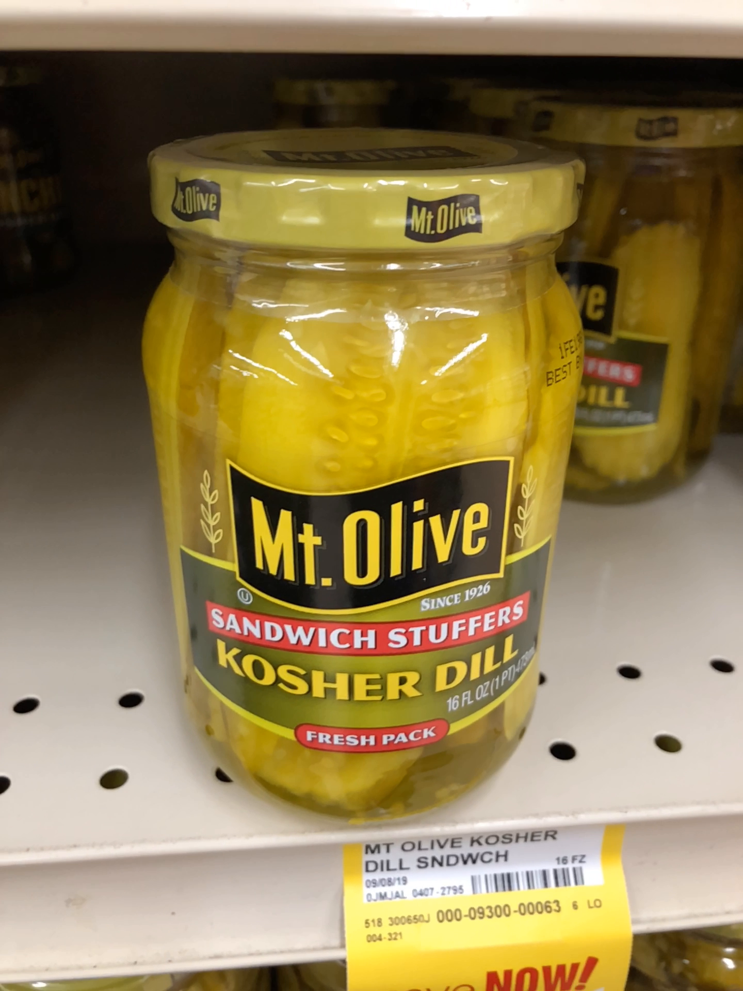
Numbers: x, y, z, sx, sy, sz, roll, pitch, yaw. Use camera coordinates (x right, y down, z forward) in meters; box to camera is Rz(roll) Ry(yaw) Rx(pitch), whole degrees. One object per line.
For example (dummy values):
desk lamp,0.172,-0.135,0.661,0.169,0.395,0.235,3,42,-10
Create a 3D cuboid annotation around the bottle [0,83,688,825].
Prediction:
bottle,-0.006,-0.010,0.175,0.090,0.130,0.080,0,29,-2
